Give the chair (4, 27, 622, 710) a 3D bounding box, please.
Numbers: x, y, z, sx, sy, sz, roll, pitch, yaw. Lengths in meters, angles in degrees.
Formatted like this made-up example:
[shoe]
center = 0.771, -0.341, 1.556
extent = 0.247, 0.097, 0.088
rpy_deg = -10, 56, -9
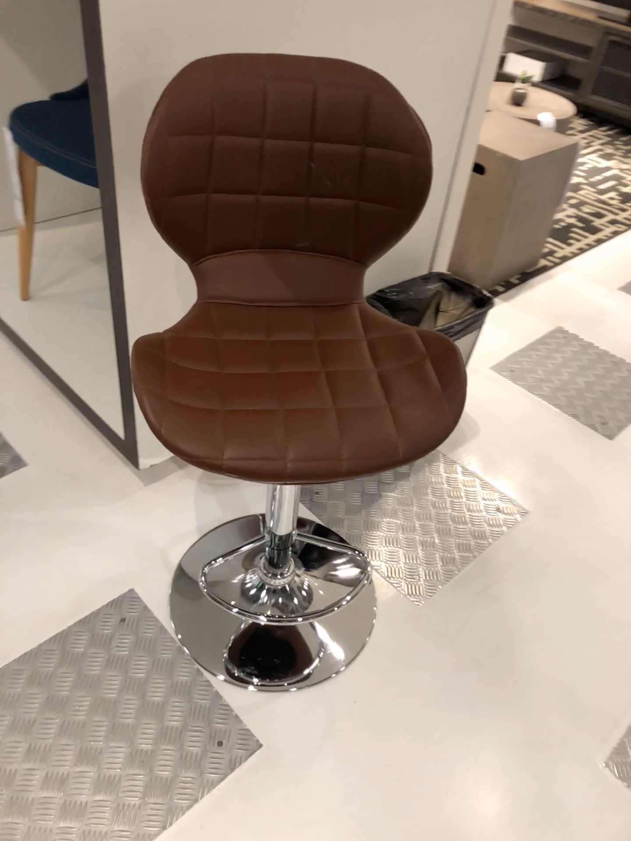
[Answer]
[chair]
center = -0.048, -0.017, 1.084
extent = 0.540, 0.922, 0.494
rpy_deg = 2, 40, -6
